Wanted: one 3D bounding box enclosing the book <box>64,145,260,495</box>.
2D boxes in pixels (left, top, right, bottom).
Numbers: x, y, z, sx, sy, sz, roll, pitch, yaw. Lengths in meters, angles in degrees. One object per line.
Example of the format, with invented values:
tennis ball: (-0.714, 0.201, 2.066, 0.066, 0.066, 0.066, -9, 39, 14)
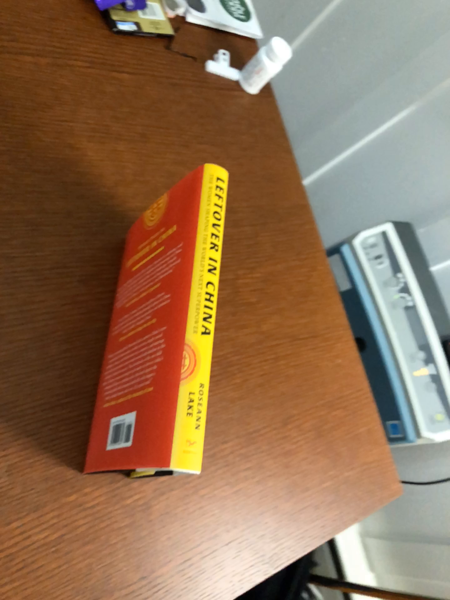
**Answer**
book: (-0.055, 0.027, 0.438, 0.060, 0.179, 0.261, 19, 62, -29)
